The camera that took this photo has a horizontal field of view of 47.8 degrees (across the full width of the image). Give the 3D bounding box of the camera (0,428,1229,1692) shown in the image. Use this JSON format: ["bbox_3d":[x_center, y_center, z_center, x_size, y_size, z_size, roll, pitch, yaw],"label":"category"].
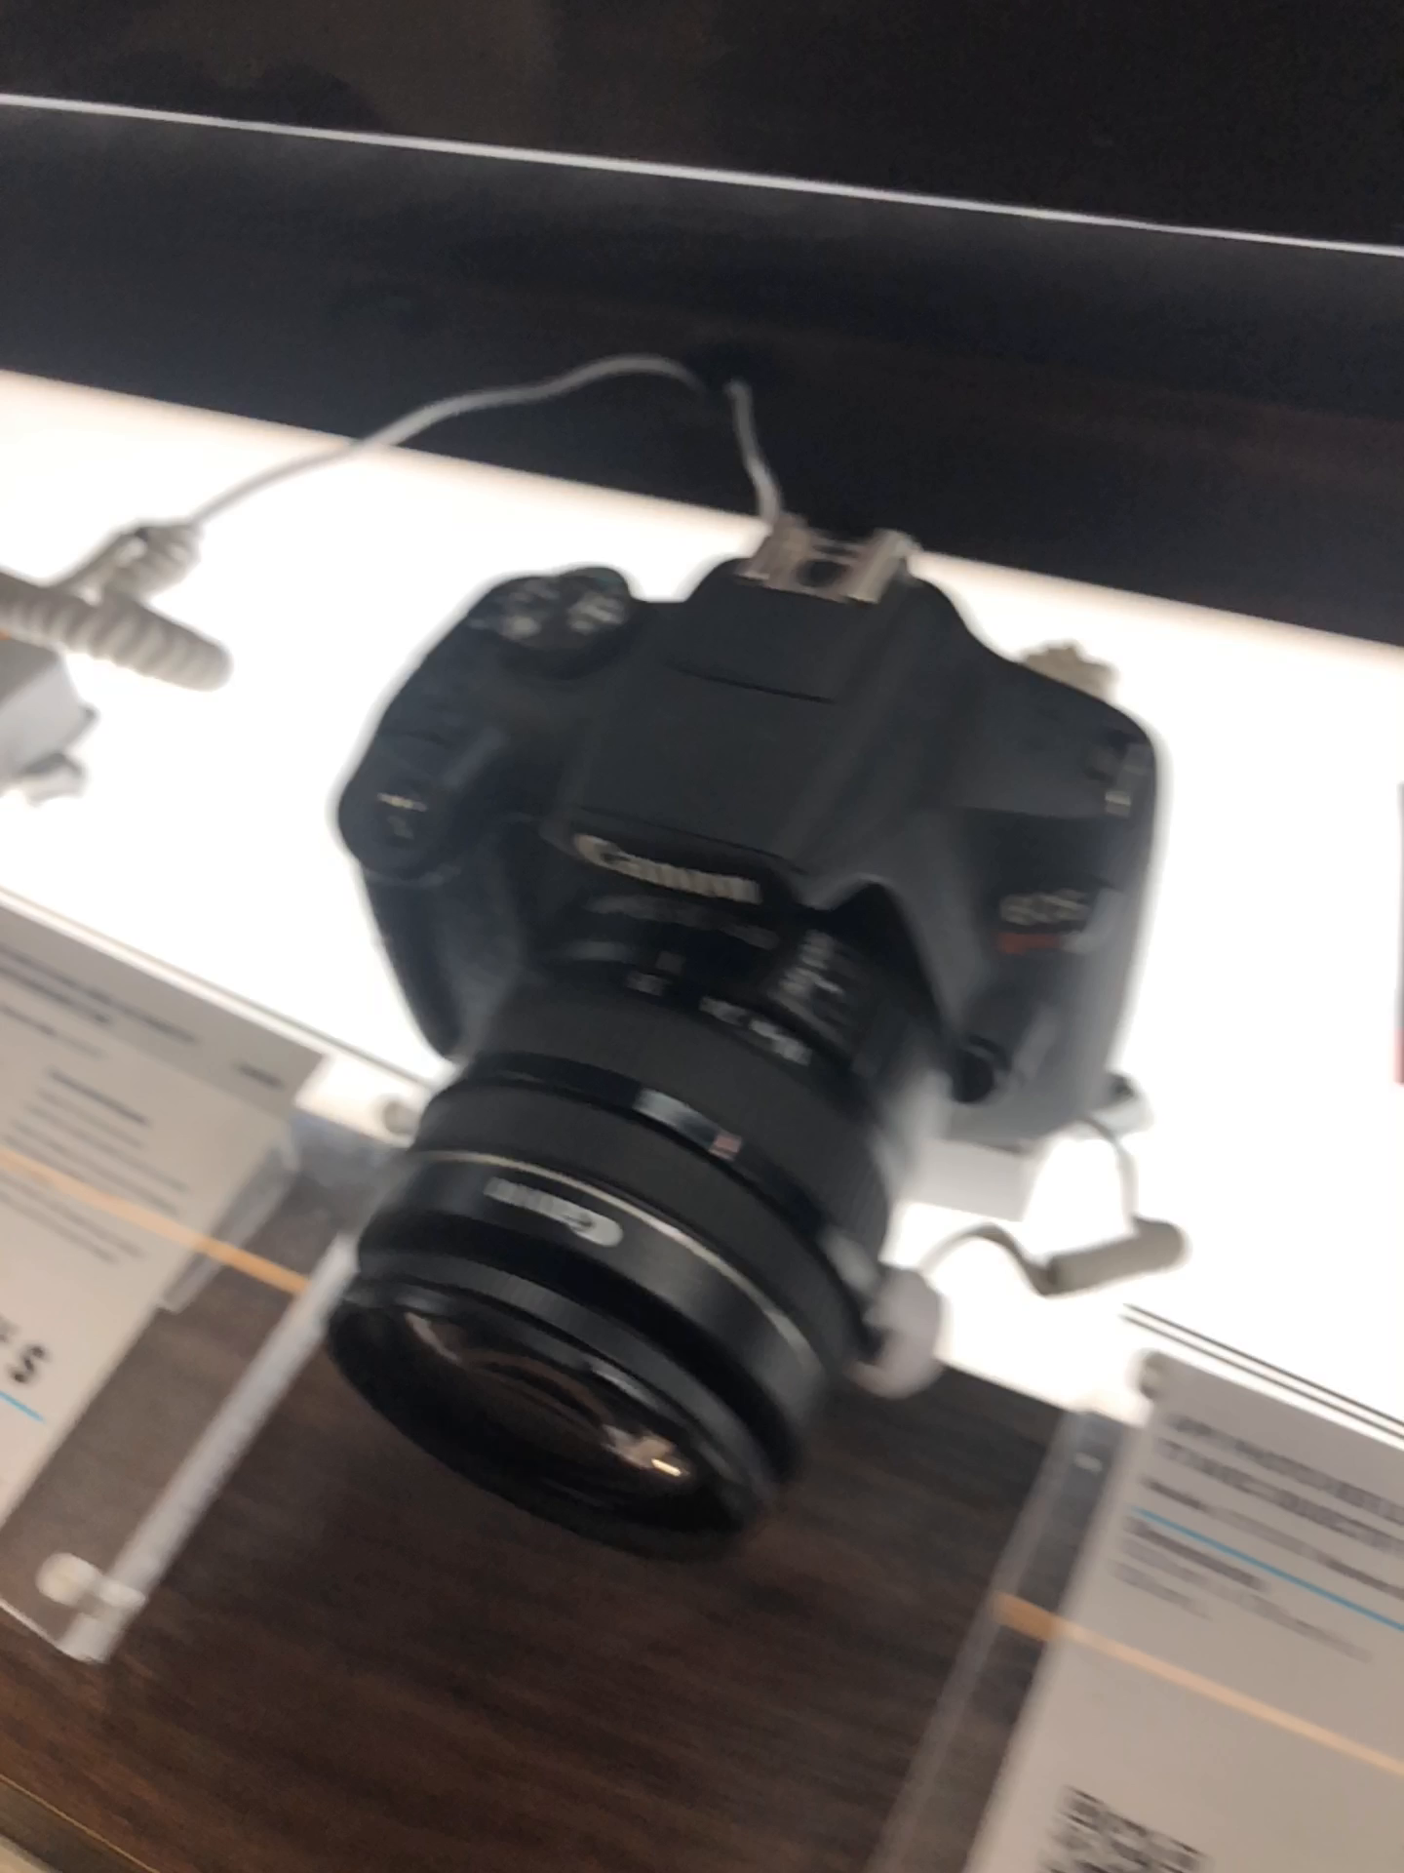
[{"bbox_3d":[-0.010,0.008,0.224,0.129,0.099,0.112,15,46,20],"label":"camera"}]
